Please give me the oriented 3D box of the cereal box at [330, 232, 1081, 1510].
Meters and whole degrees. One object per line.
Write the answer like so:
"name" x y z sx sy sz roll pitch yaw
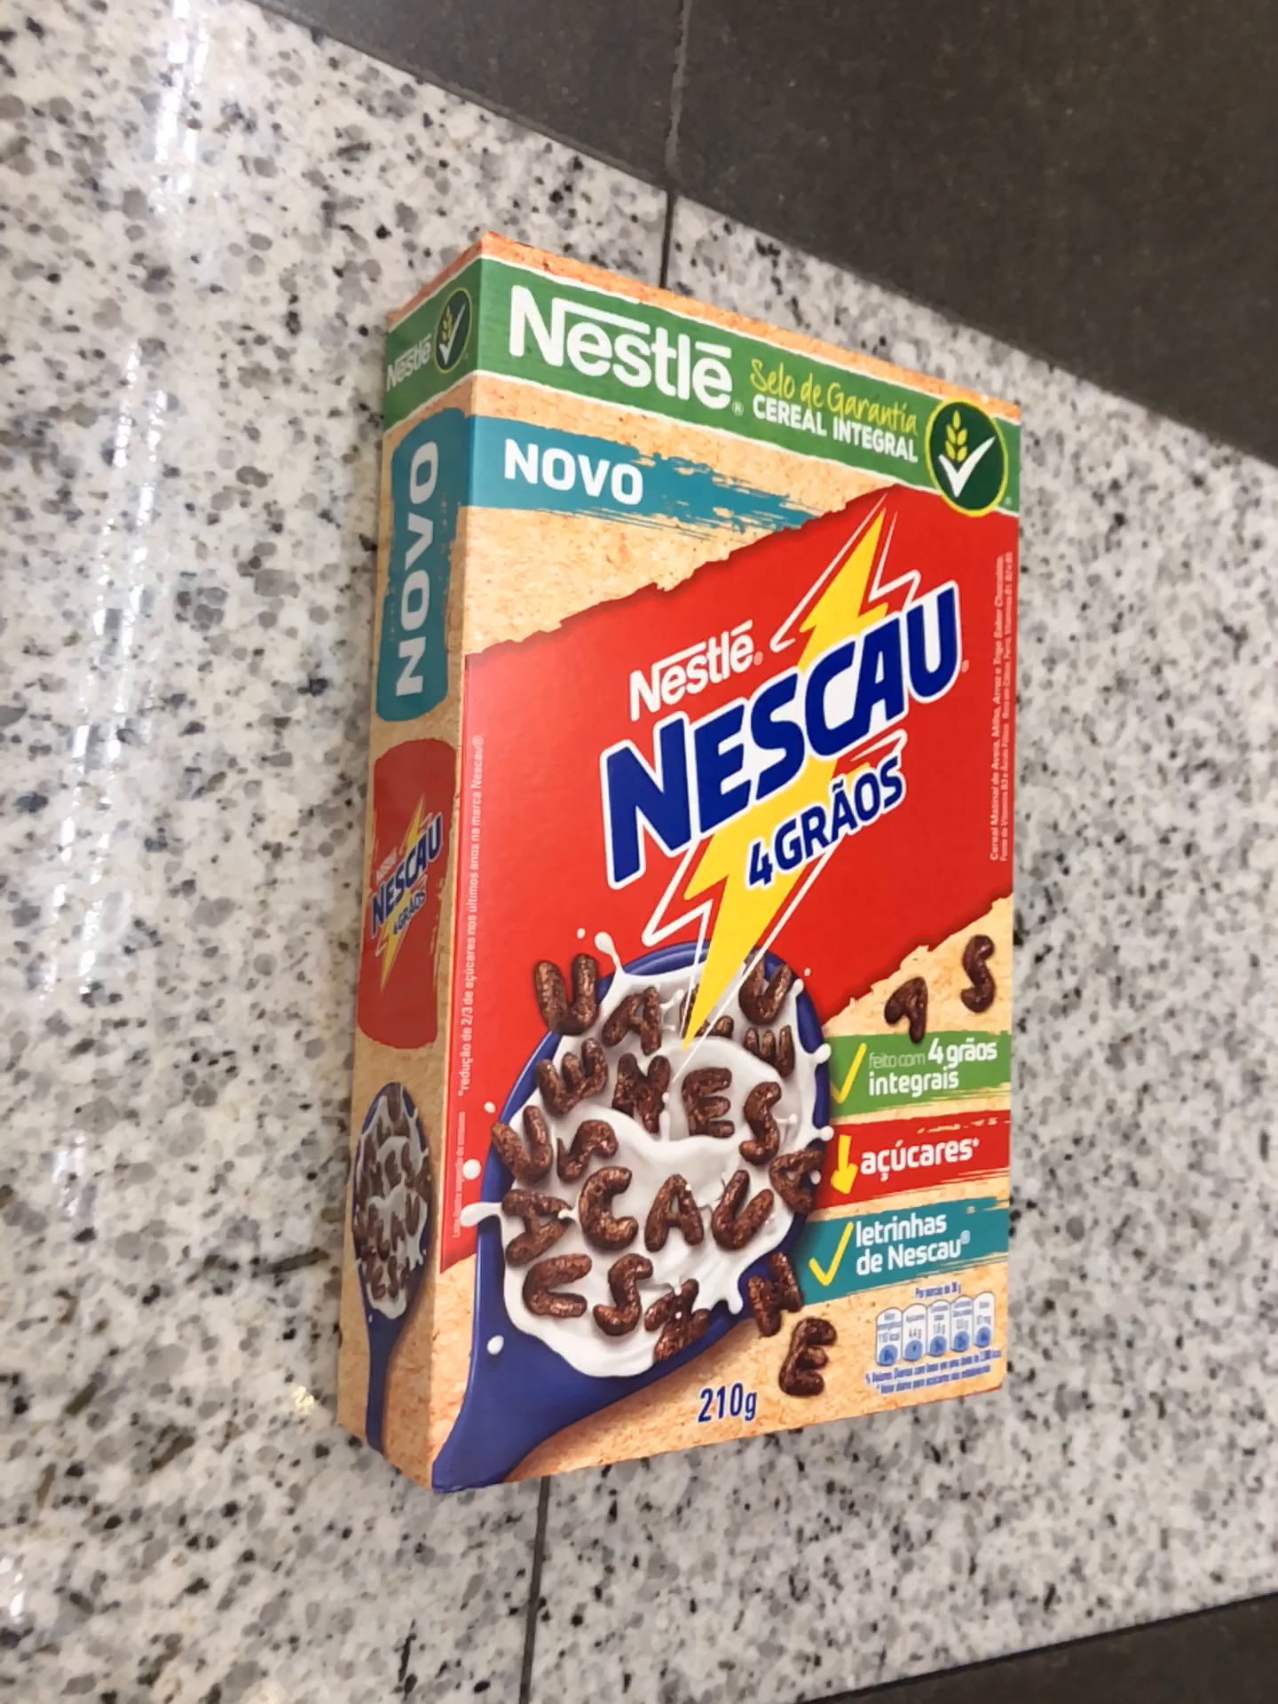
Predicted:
"cereal box" 0.024 0.006 0.332 0.171 0.050 0.240 4 86 -32
